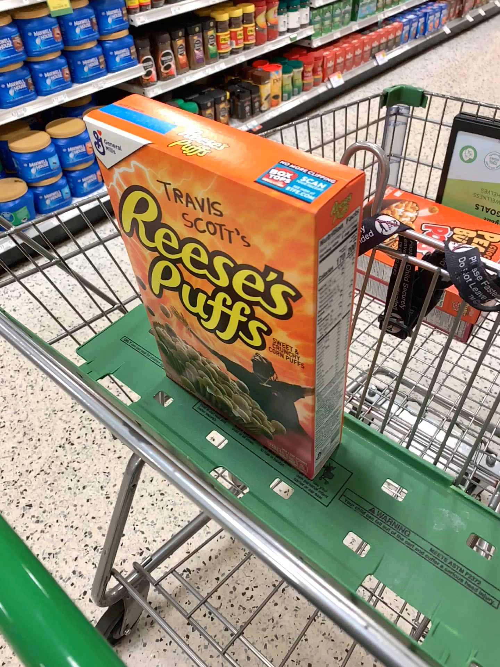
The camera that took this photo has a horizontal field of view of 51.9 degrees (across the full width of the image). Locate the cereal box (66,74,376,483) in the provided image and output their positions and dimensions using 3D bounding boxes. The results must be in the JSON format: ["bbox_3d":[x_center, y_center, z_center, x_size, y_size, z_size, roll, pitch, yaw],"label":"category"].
[{"bbox_3d":[-0.019,-0.030,0.404,0.211,0.277,0.050,31,56,31],"label":"cereal box"}]
